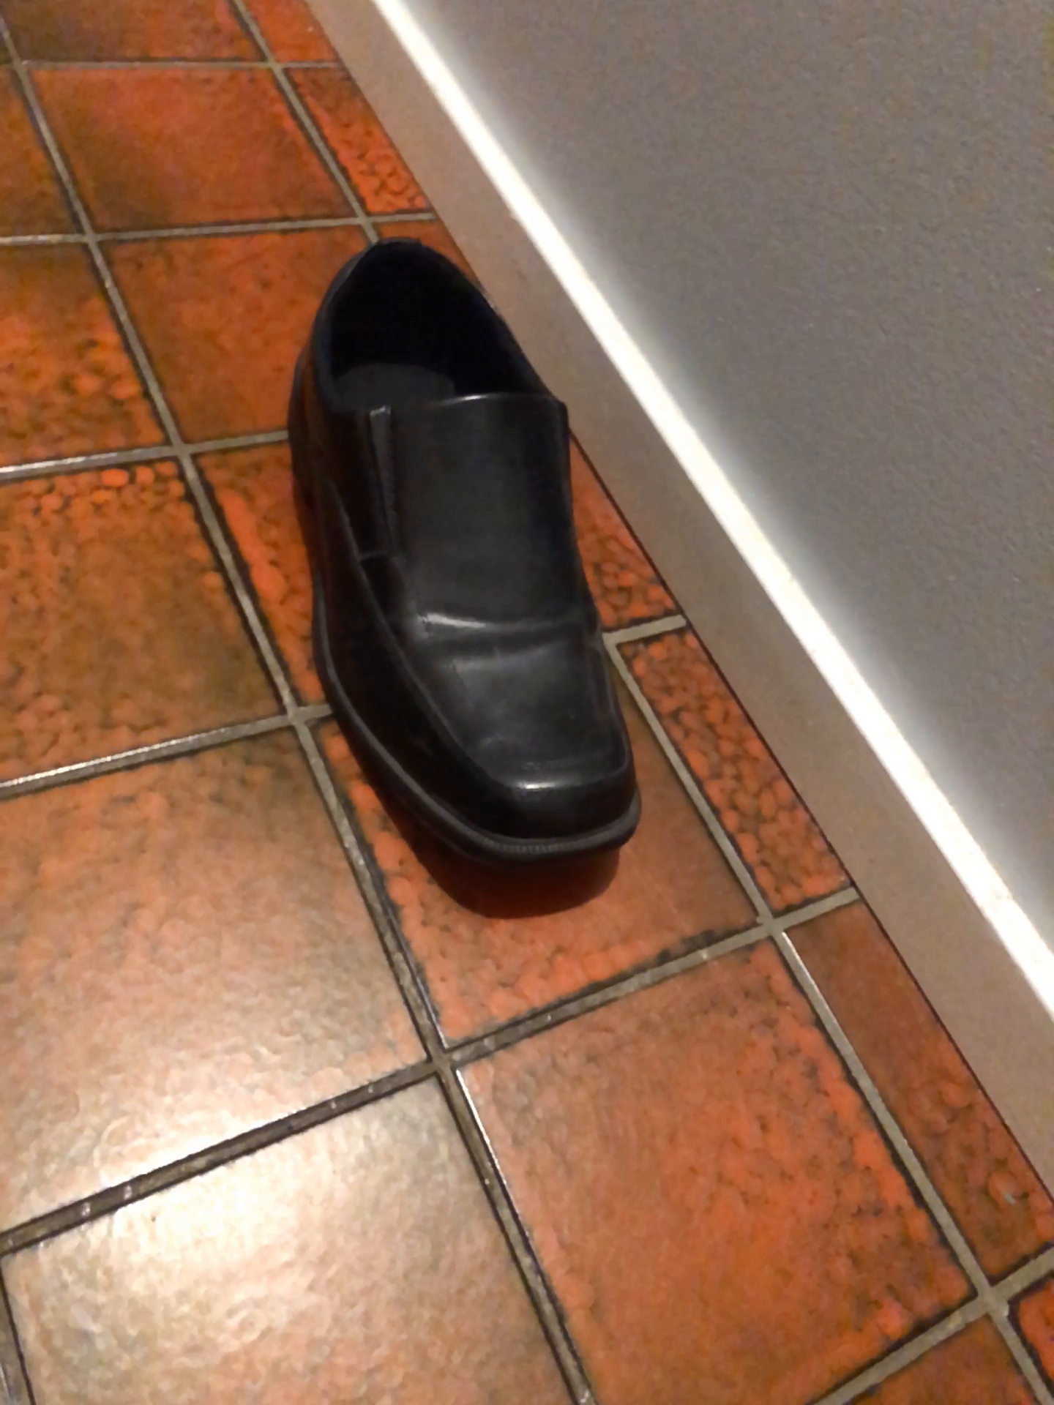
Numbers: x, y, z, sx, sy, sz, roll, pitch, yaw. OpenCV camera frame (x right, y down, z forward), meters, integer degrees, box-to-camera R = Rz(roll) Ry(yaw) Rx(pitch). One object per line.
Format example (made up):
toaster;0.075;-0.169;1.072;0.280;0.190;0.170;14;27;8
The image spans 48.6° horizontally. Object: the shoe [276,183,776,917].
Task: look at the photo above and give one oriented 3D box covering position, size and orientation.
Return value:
shoe;-0.020;-0.077;0.492;0.120;0.100;0.300;-5;58;-20
